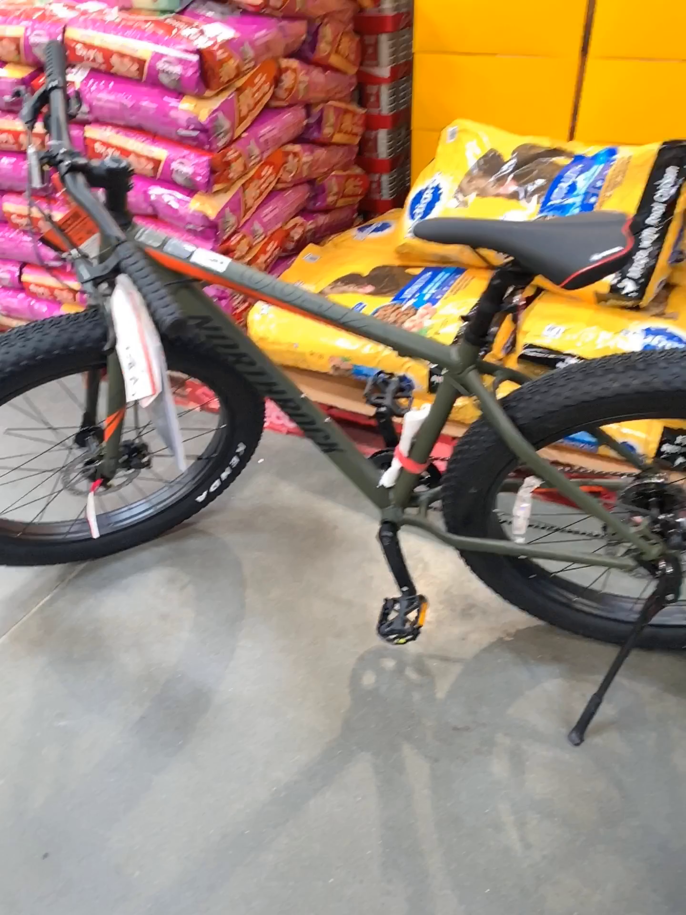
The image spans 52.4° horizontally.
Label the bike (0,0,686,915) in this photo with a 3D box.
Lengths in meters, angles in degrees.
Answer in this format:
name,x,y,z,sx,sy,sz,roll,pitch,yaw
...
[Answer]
name,x,y,z,sx,sy,sz,roll,pitch,yaw
bike,0.068,0.042,0.864,1.712,1.203,0.595,2,36,-7
